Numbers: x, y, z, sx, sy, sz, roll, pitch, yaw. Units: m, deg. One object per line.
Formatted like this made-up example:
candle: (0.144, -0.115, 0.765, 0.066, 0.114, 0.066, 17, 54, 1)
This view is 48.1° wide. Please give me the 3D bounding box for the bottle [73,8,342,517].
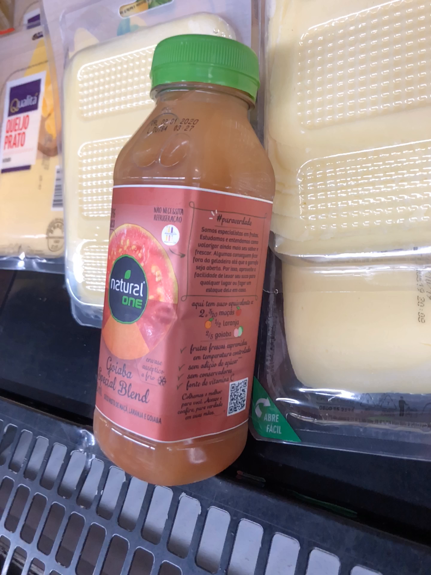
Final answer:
bottle: (-0.002, -0.009, 0.215, 0.060, 0.070, 0.180, 10, 91, 38)
